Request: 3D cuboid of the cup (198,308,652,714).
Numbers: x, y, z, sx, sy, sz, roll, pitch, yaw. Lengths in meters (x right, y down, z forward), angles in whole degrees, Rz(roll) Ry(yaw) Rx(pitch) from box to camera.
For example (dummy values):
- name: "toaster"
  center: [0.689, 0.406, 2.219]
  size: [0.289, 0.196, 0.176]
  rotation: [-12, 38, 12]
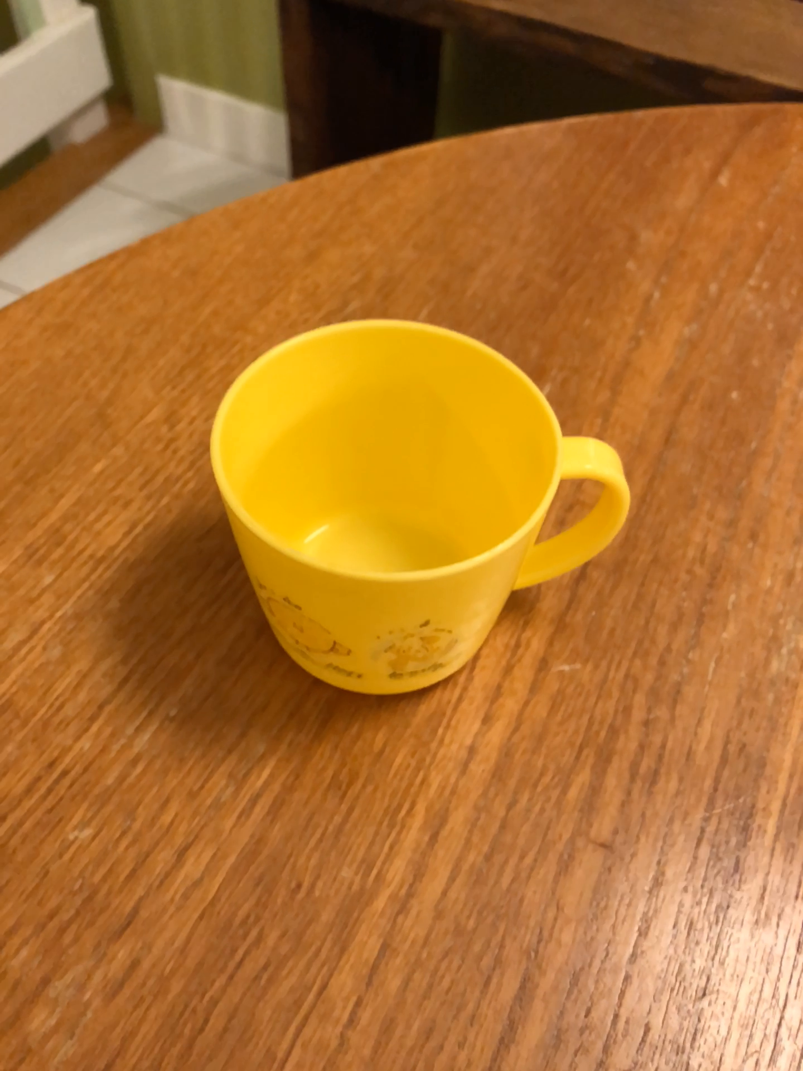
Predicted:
- name: "cup"
  center: [0.001, -0.007, 0.241]
  size: [0.097, 0.064, 0.081]
  rotation: [-4, 54, -5]
